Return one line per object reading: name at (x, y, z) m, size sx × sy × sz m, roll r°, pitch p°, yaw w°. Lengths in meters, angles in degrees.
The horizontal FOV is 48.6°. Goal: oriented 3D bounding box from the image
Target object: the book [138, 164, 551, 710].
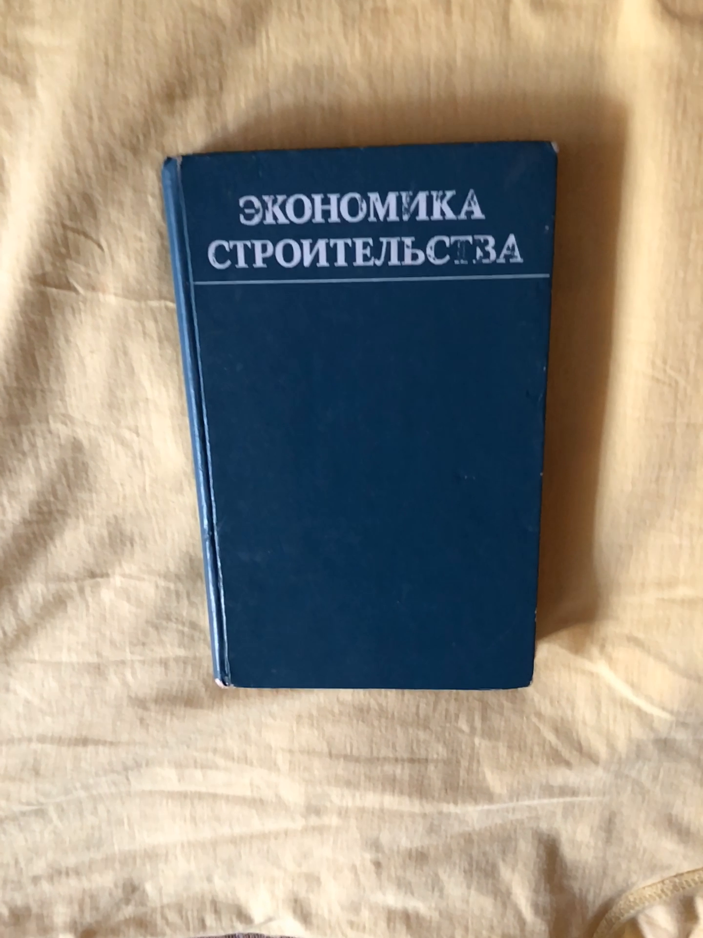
book at (0.001, -0.004, 0.292) m, size 0.130 × 0.030 × 0.201 m, roll -1°, pitch 109°, yaw 3°
